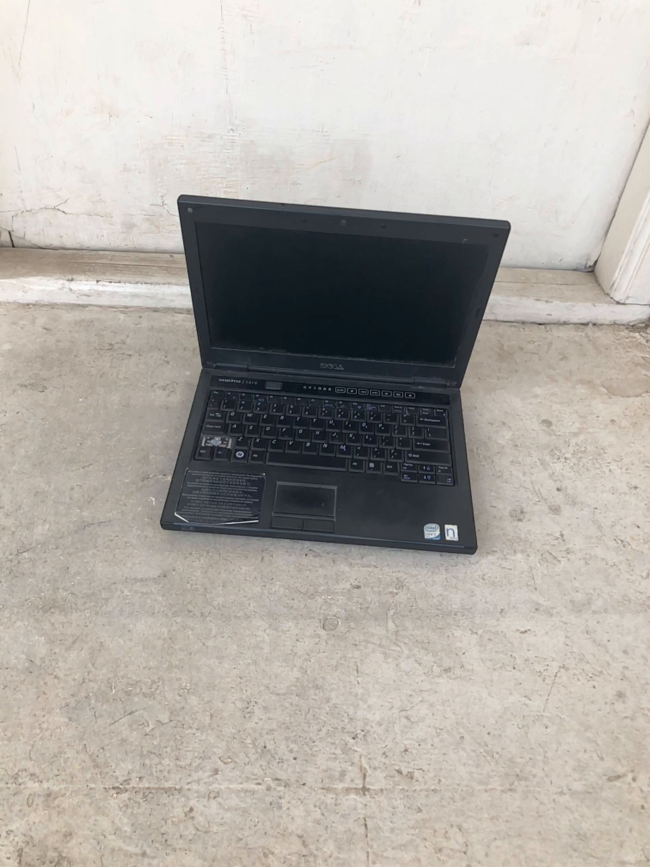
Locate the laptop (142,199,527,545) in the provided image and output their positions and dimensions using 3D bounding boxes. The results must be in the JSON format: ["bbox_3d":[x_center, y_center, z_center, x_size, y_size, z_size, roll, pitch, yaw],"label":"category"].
[{"bbox_3d":[0.007,-0.058,0.688,0.292,0.219,0.214,4,47,1],"label":"laptop"}]
